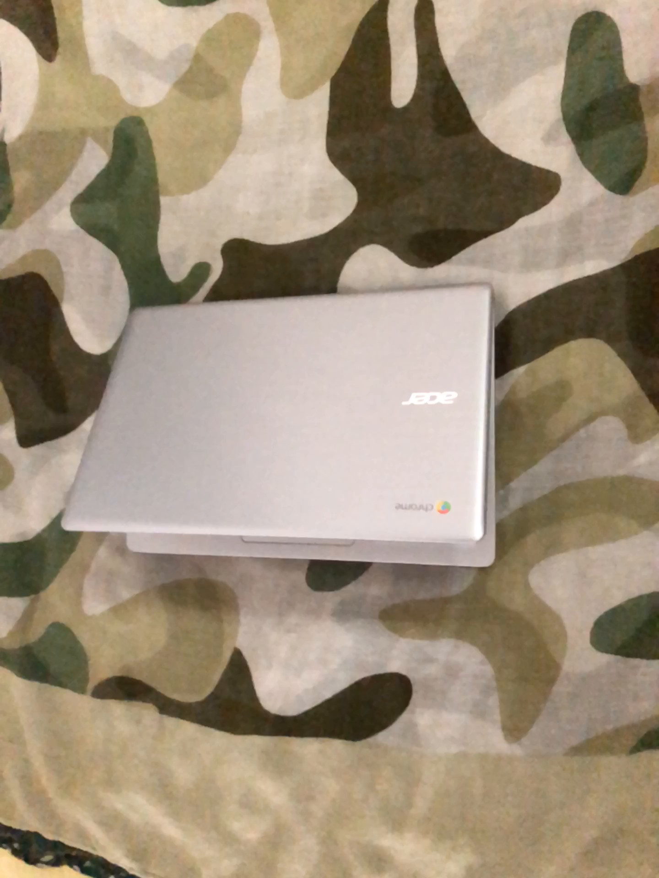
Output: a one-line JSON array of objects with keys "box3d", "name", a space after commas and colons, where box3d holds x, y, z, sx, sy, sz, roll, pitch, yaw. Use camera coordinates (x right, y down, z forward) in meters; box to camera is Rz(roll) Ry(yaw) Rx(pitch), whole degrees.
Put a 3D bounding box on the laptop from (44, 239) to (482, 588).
[{"box3d": [-0.042, -0.018, 0.578, 0.311, 0.125, 0.232, 0, 81, 17], "name": "laptop"}]
